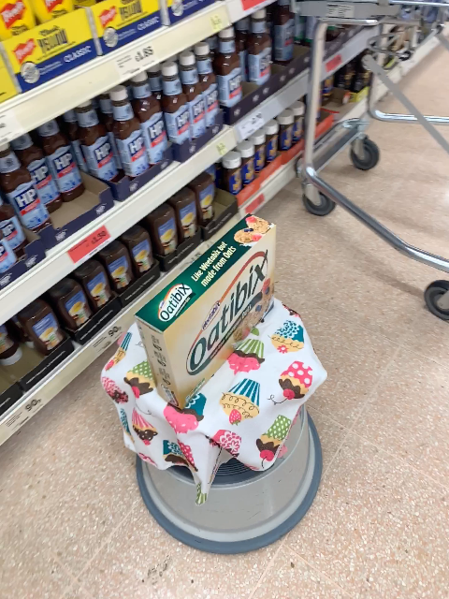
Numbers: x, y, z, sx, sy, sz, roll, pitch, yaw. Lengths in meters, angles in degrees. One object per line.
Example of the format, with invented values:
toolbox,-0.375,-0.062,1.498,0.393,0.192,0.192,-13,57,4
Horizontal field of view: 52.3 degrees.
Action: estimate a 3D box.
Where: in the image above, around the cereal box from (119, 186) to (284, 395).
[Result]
cereal box,-0.015,-0.019,0.682,0.060,0.168,0.282,27,55,27
